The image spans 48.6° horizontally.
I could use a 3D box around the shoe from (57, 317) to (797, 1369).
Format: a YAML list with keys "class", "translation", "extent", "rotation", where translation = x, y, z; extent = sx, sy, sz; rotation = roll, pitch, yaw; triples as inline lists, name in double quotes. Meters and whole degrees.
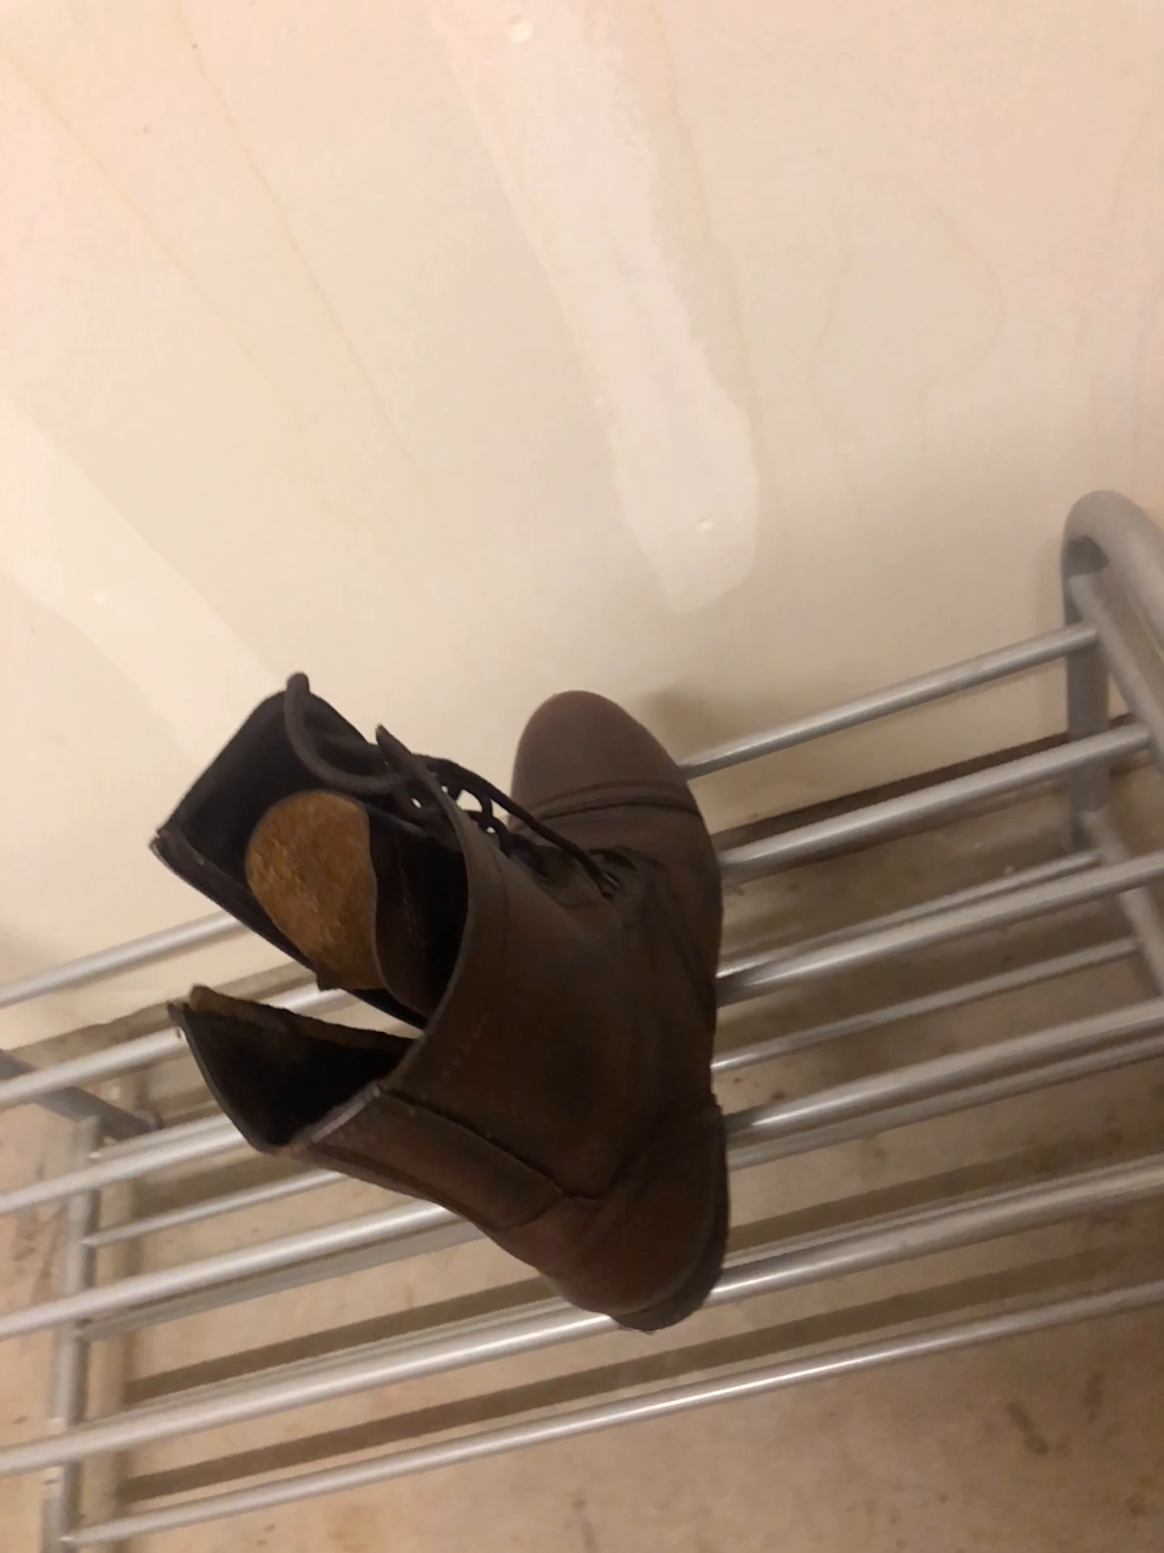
- class: "shoe"
  translation: [-0.037, 0.037, 0.470]
  extent: [0.121, 0.238, 0.288]
  rotation: [-17, 55, 17]
